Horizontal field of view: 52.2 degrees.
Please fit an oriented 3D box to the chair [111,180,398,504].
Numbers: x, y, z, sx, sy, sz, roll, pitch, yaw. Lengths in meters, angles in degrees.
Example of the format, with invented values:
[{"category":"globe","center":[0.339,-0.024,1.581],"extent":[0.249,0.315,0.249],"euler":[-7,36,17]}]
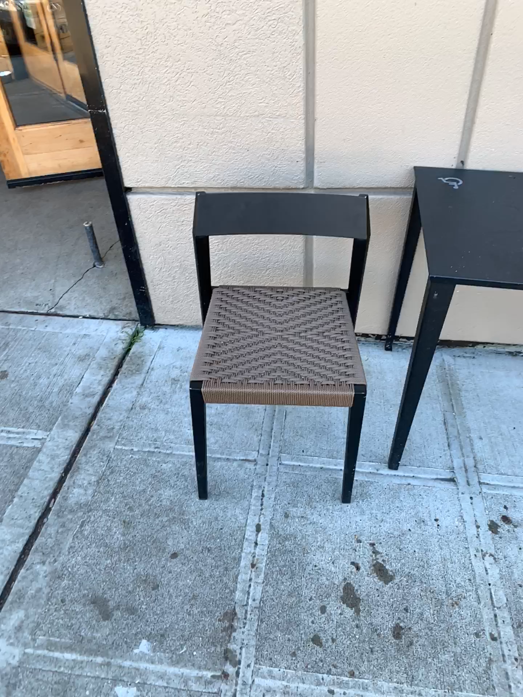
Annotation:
[{"category":"chair","center":[0.010,-0.016,1.445],"extent":[0.550,0.666,0.553],"euler":[0,40,4]}]
